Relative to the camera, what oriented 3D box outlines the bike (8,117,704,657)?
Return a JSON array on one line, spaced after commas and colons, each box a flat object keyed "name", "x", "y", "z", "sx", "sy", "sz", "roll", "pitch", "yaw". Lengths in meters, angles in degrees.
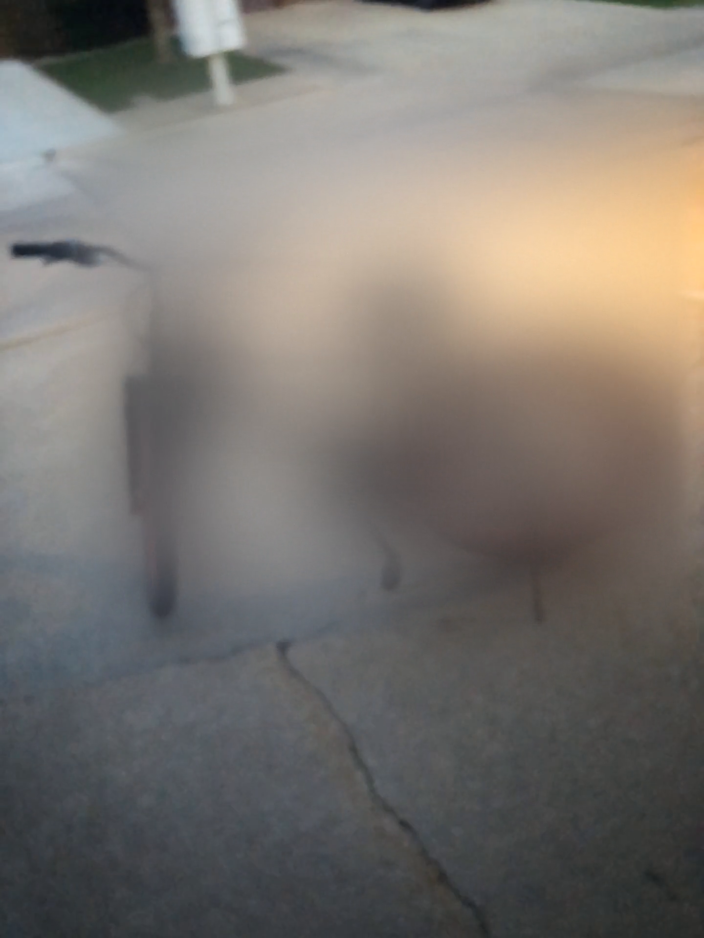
[{"name": "bike", "x": 0.039, "y": -0.229, "z": 1.996, "sx": 1.426, "sy": 1.031, "sz": 0.599, "roll": 2, "pitch": 33, "yaw": 18}]
